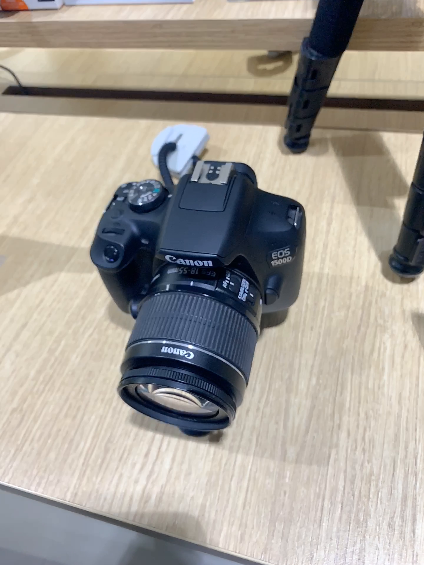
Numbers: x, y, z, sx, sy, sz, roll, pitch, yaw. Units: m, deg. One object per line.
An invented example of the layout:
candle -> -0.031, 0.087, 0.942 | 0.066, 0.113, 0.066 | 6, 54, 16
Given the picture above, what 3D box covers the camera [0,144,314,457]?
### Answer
camera -> -0.013, 0.003, 0.254 | 0.121, 0.088, 0.140 | 7, 53, 14
